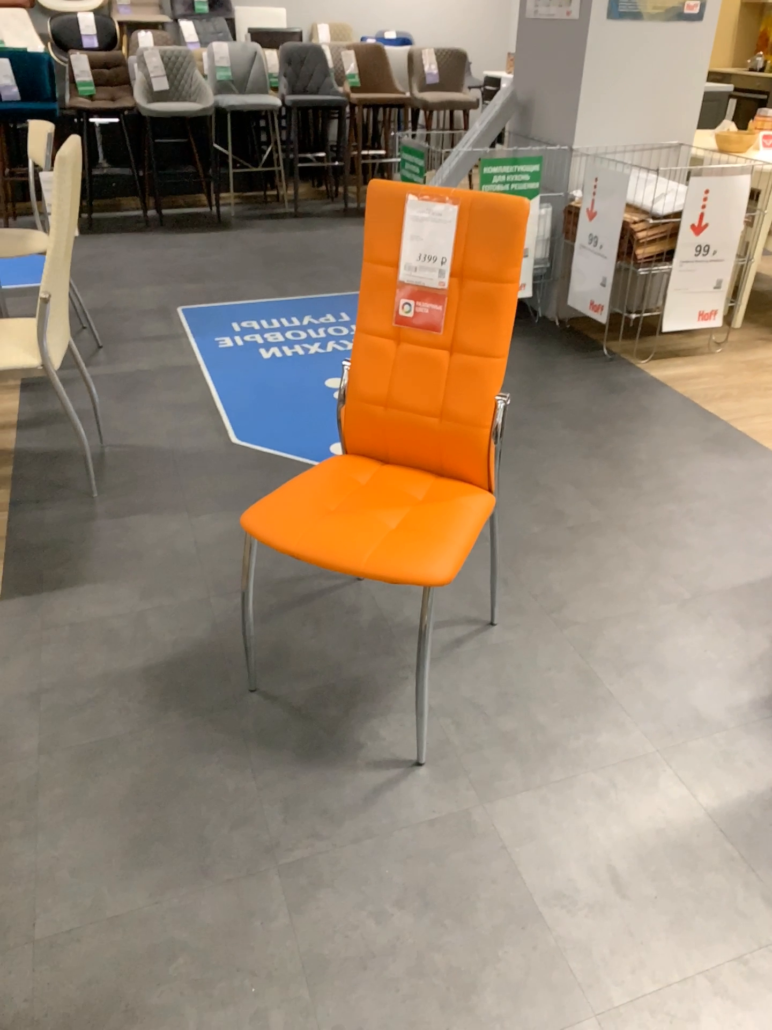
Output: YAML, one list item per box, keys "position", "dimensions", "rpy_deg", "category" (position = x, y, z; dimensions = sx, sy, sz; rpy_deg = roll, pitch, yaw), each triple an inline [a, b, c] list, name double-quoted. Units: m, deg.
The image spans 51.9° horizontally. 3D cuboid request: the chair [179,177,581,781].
- position: [0.006, -0.089, 1.628]
  dimensions: [0.490, 1.014, 0.543]
  rpy_deg: [17, 35, 24]
  category: "chair"
